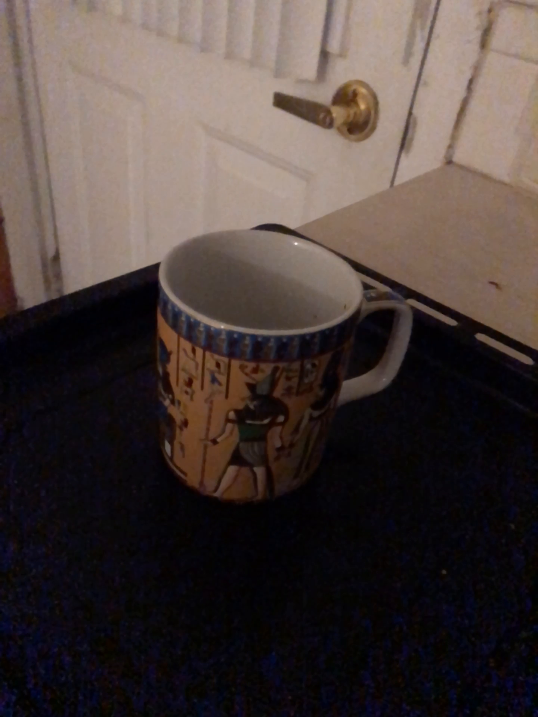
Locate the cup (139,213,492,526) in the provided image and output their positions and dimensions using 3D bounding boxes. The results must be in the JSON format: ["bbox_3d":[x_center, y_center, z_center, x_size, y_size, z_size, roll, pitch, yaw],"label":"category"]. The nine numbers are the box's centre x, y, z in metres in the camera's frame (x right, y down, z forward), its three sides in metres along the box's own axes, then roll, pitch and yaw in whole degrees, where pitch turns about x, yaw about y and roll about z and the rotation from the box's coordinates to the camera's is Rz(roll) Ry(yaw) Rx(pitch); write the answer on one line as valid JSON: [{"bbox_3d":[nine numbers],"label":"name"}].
[{"bbox_3d":[0.012,-0.001,0.267,0.120,0.089,0.081,-11,42,-23],"label":"cup"}]
